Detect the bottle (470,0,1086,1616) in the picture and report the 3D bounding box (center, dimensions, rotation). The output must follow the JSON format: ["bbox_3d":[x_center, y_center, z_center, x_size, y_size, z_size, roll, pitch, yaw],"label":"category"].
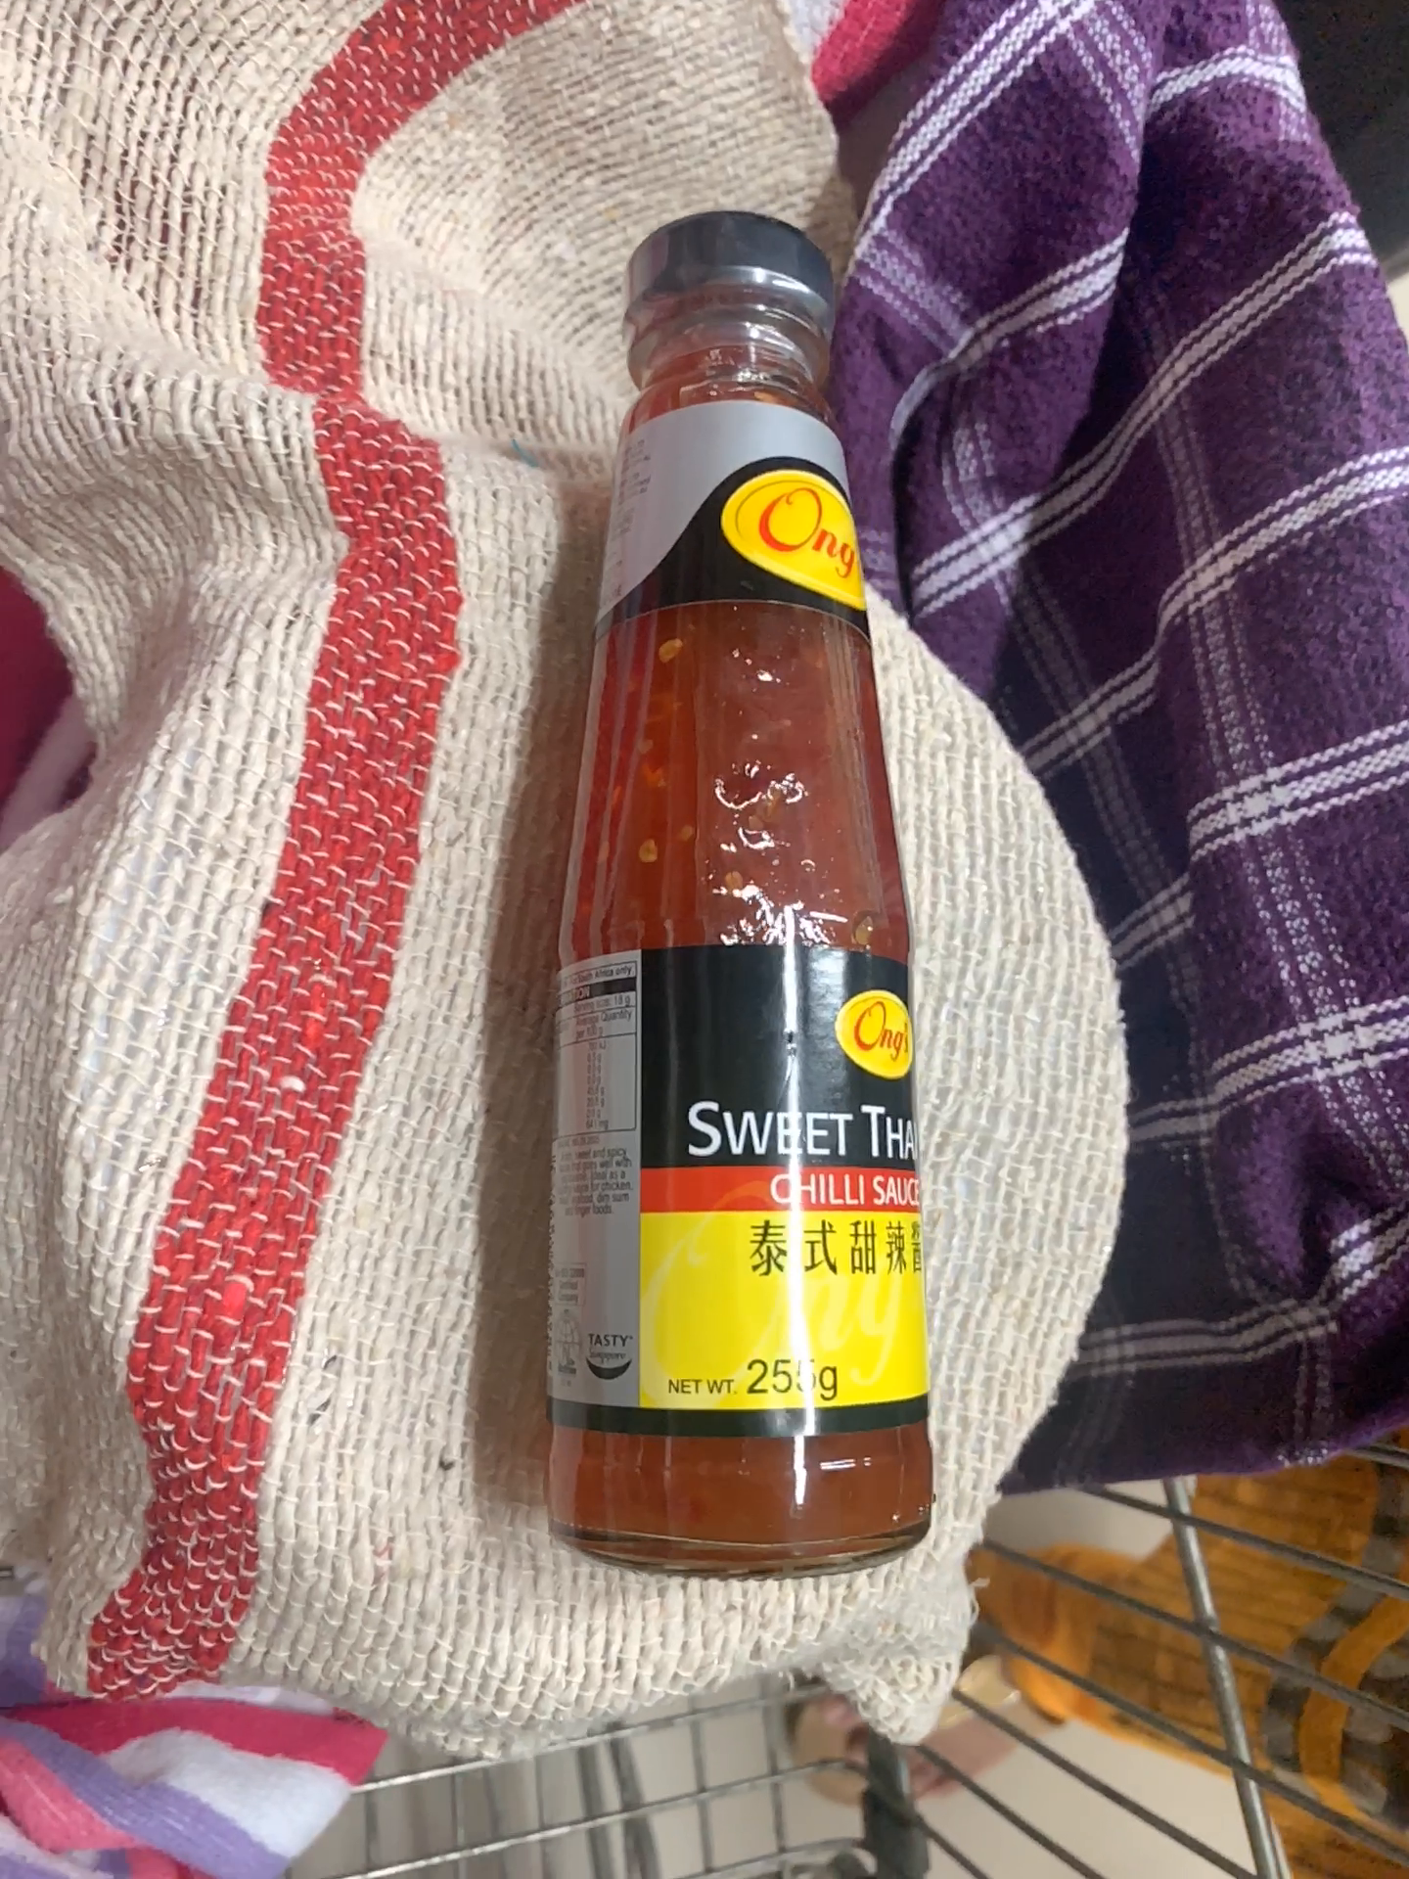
[{"bbox_3d":[0.014,-0.019,0.202,0.060,0.050,0.190,14,75,-45],"label":"bottle"}]
